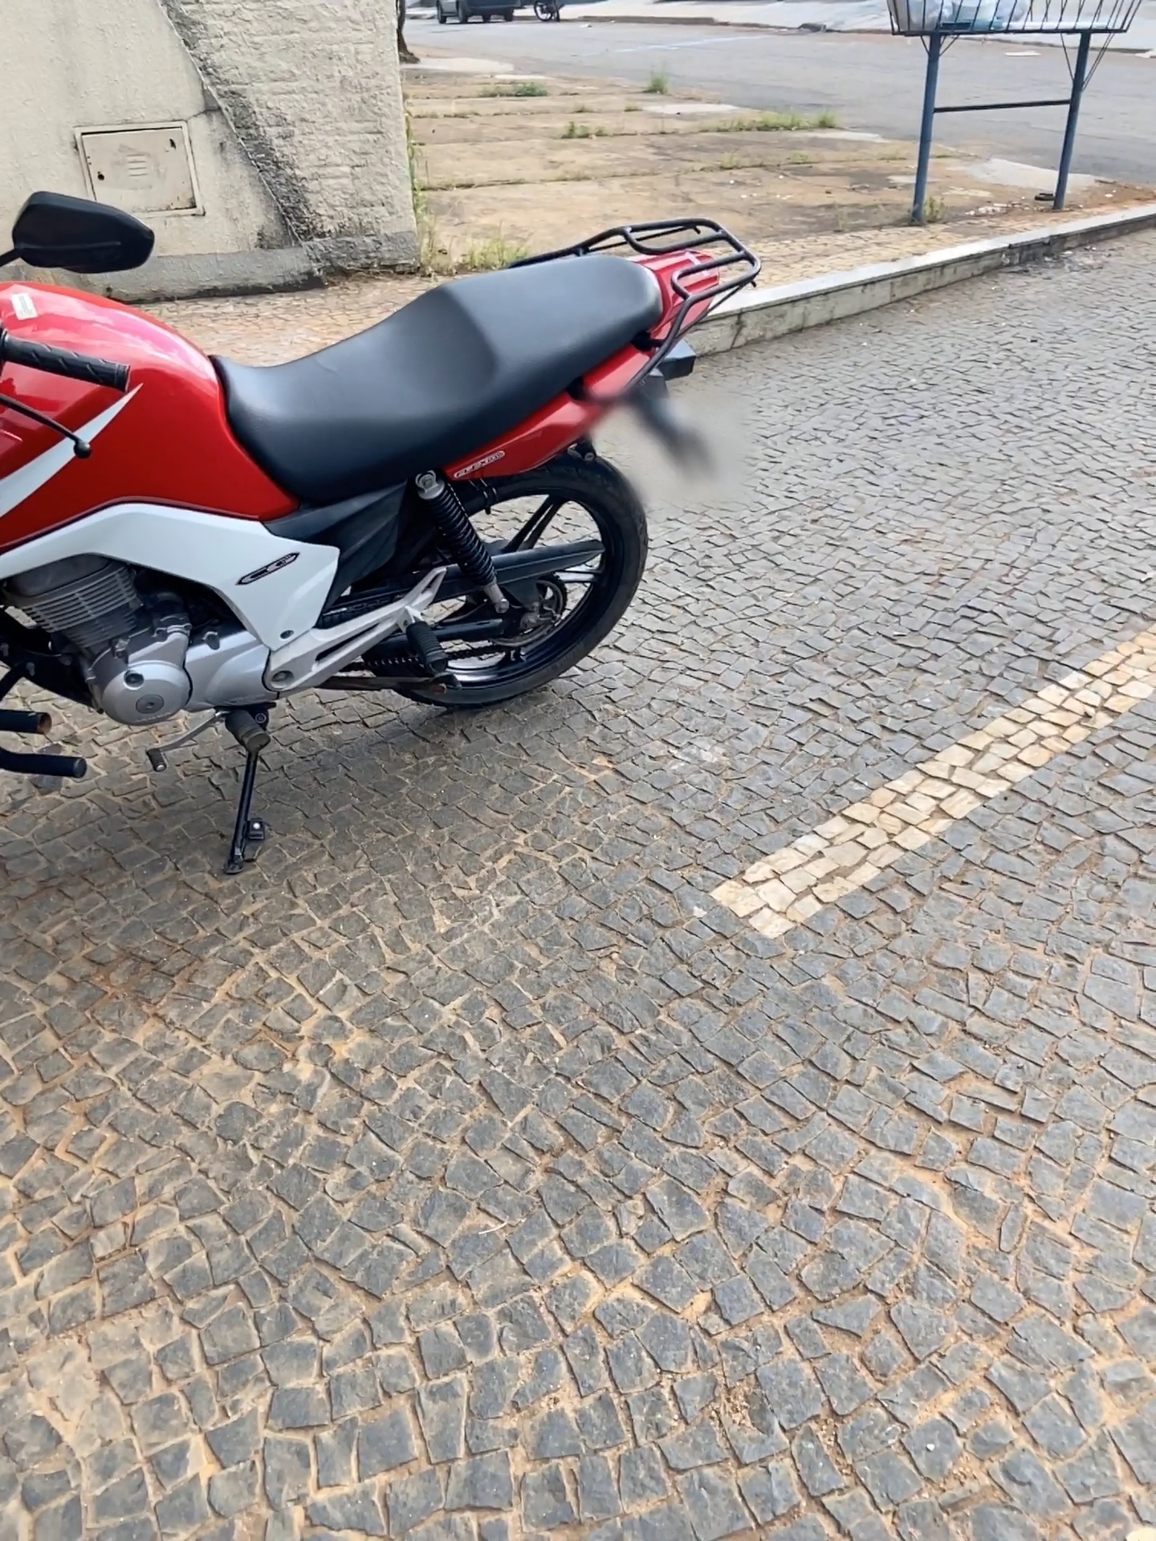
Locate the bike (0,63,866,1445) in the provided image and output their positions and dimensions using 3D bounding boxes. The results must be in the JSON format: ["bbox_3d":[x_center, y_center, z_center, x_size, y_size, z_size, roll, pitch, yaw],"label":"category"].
[{"bbox_3d":[-0.568,-0.299,1.908,2.076,1.382,0.812,-26,39,-32],"label":"bike"}]
